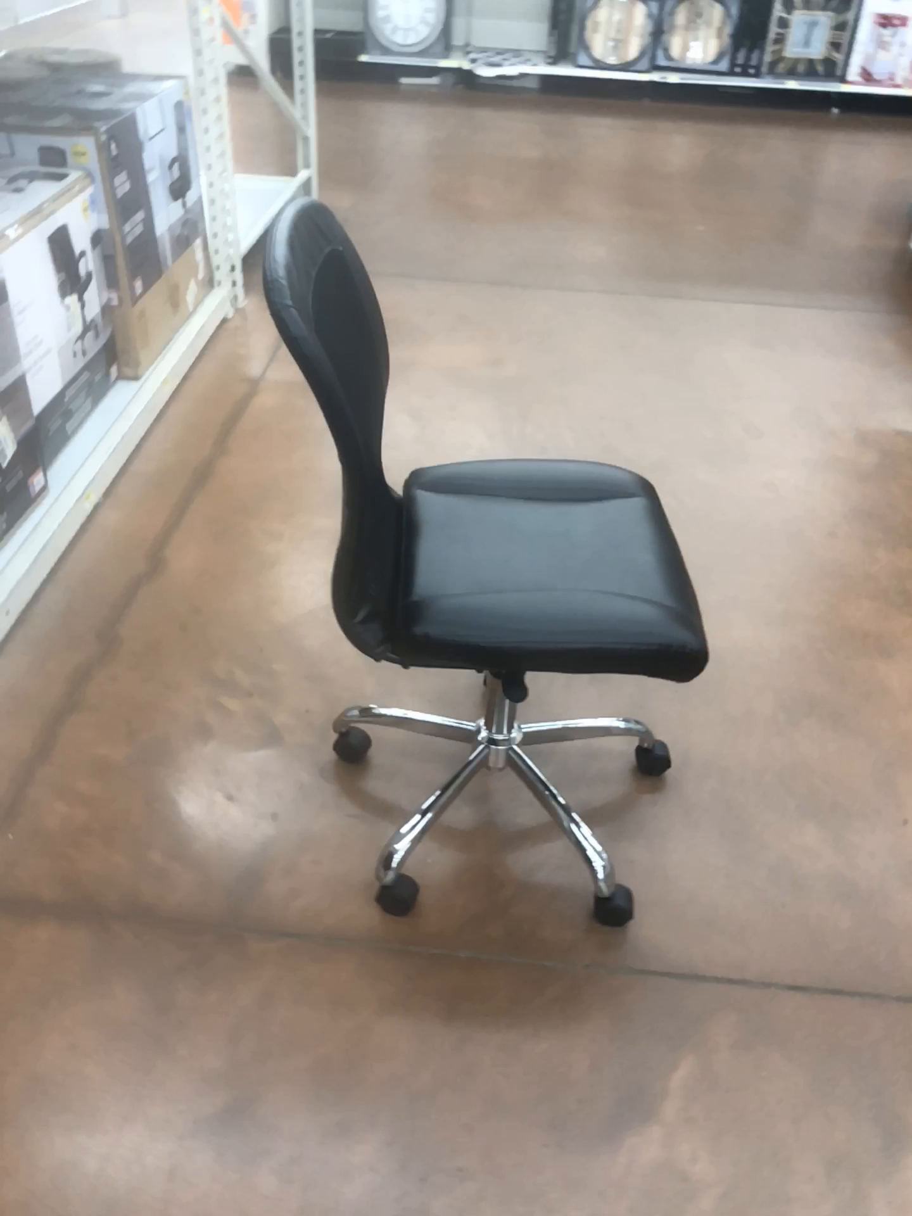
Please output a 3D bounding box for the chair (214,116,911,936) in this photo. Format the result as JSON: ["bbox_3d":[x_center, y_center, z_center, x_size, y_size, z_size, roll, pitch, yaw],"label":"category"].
[{"bbox_3d":[0.120,-0.124,1.346,0.650,0.817,0.683,3,36,0],"label":"chair"}]
